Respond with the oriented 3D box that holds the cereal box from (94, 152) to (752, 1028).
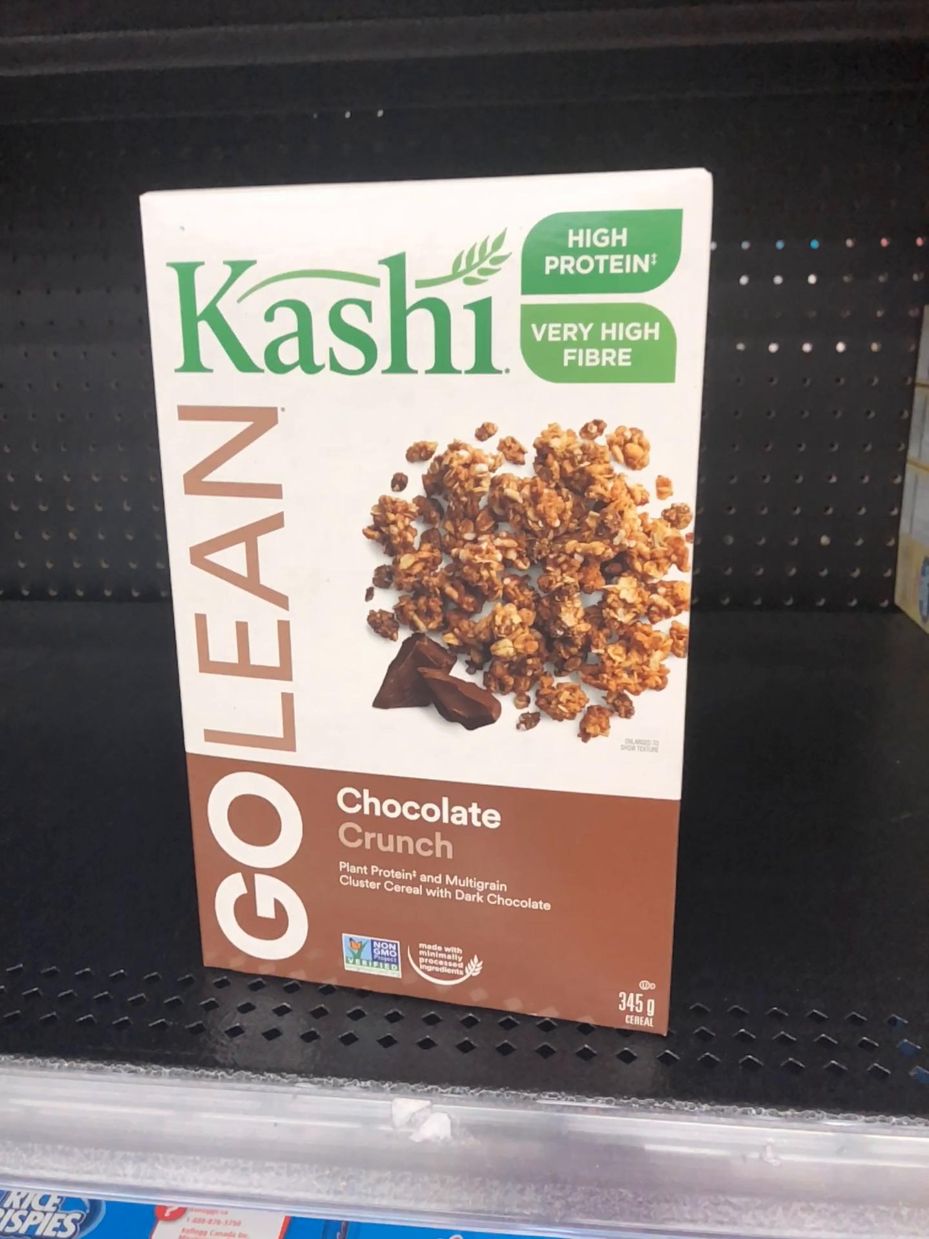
[{"bbox_3d":[-0.011,-0.006,0.329,0.180,0.249,0.050,3,15,12],"label":"cereal box"}]
